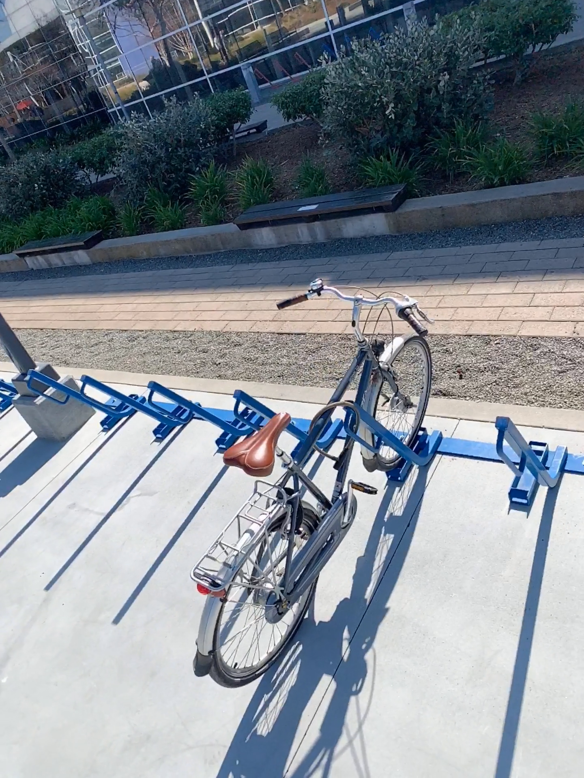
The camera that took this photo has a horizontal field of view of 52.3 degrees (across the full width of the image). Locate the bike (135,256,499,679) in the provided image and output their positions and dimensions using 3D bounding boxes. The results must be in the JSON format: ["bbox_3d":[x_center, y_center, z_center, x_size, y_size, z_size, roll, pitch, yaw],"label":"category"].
[{"bbox_3d":[0.195,0.201,2.140,0.593,0.915,1.061,8,43,40],"label":"bike"}]
